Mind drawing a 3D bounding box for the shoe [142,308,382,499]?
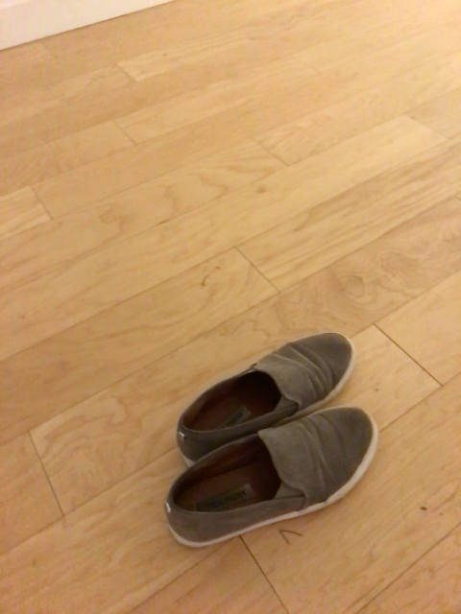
[{"bbox_3d":[0.042,0.112,0.633,0.281,0.050,0.110,-26,53,-17],"label":"shoe"}]

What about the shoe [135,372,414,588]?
[{"bbox_3d":[0.048,0.186,0.565,0.280,0.050,0.121,-20,52,-13],"label":"shoe"}]
